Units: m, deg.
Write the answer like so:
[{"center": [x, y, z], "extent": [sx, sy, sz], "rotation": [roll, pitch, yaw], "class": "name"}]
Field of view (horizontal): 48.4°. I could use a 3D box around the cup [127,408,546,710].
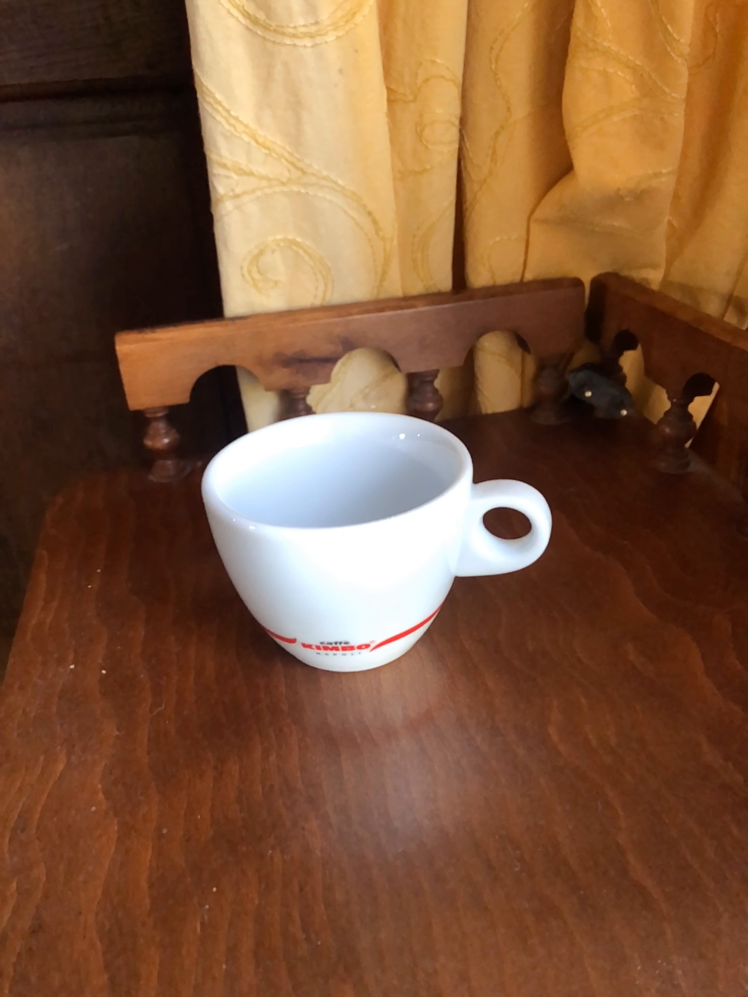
[{"center": [-0.003, 0.012, 0.268], "extent": [0.110, 0.050, 0.091], "rotation": [3, 28, 13], "class": "cup"}]
